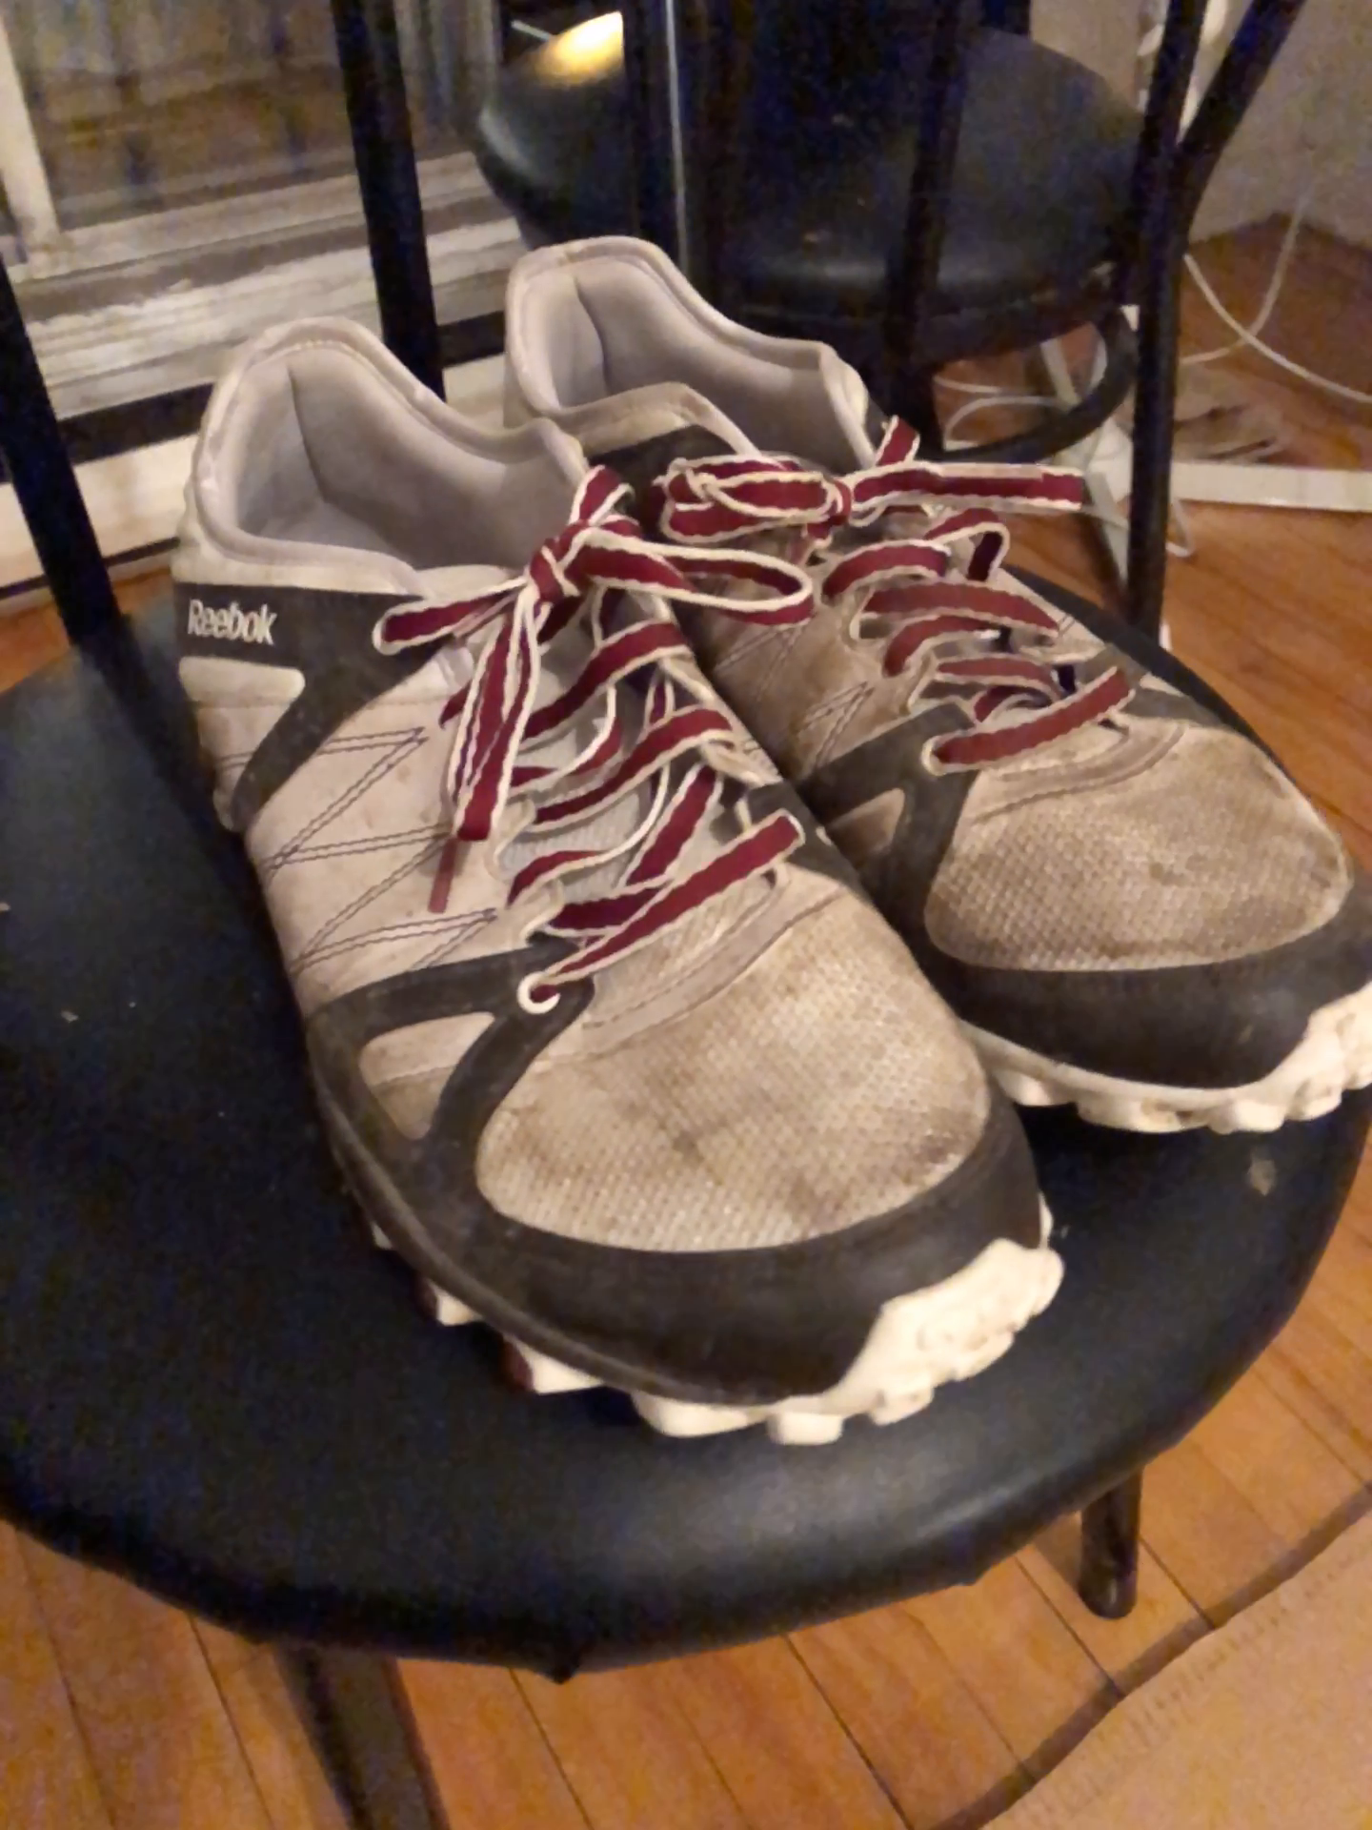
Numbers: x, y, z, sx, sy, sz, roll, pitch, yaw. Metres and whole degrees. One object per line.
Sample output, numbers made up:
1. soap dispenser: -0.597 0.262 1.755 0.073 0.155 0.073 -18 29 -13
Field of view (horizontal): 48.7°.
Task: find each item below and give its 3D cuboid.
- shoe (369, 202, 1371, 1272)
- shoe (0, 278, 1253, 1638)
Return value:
1. shoe: 0.041 -0.069 0.356 0.110 0.089 0.282 -24 49 -23
2. shoe: -0.042 -0.025 0.299 0.110 0.089 0.272 -24 49 -23
